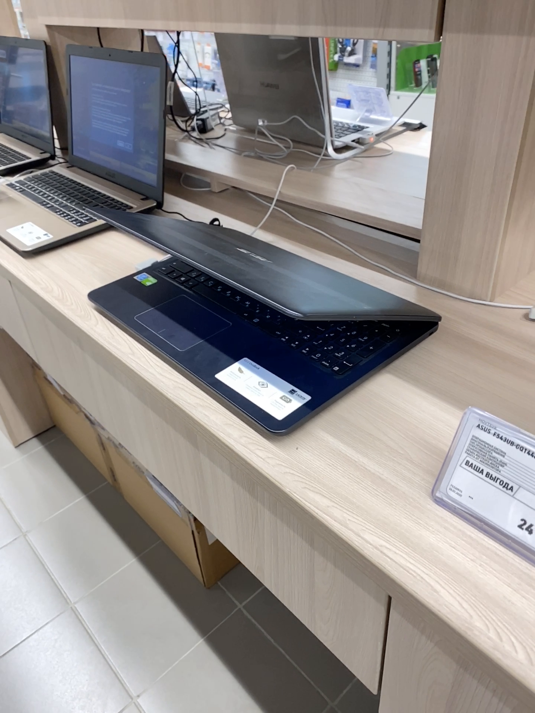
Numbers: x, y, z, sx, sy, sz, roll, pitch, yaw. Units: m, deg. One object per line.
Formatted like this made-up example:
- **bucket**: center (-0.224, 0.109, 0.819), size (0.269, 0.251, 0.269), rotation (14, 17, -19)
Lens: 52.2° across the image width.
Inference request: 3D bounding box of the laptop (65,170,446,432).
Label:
- **laptop**: center (-0.033, -0.102, 0.641), size (0.235, 0.098, 0.387), rotation (-30, 43, -30)
